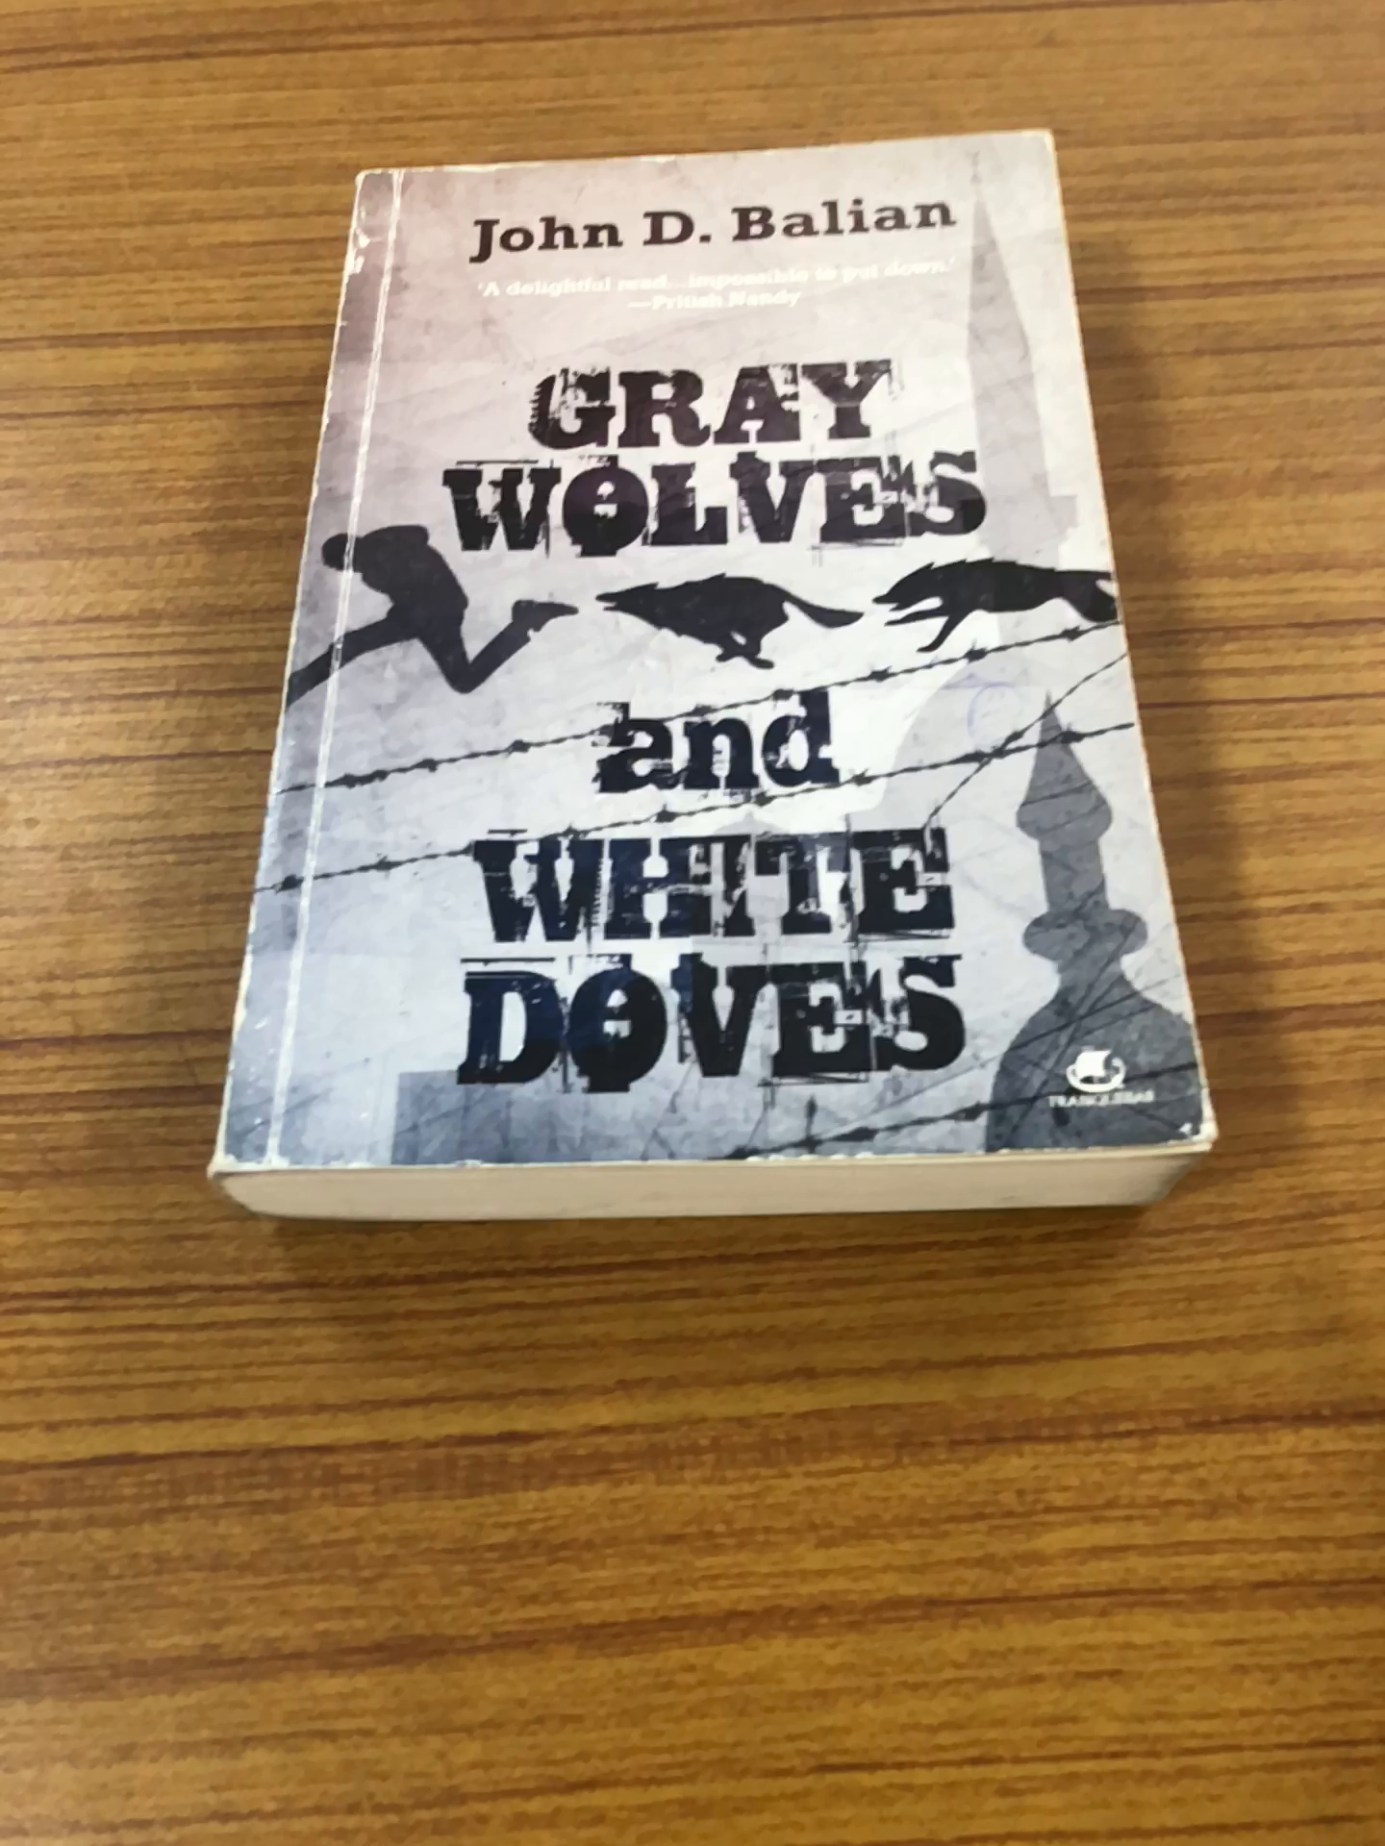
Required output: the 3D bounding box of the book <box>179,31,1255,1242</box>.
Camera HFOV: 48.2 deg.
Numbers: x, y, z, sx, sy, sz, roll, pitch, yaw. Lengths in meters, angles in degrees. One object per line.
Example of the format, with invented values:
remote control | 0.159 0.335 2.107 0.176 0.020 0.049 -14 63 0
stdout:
book | 0.003 -0.057 0.248 0.130 0.030 0.210 -2 63 5
